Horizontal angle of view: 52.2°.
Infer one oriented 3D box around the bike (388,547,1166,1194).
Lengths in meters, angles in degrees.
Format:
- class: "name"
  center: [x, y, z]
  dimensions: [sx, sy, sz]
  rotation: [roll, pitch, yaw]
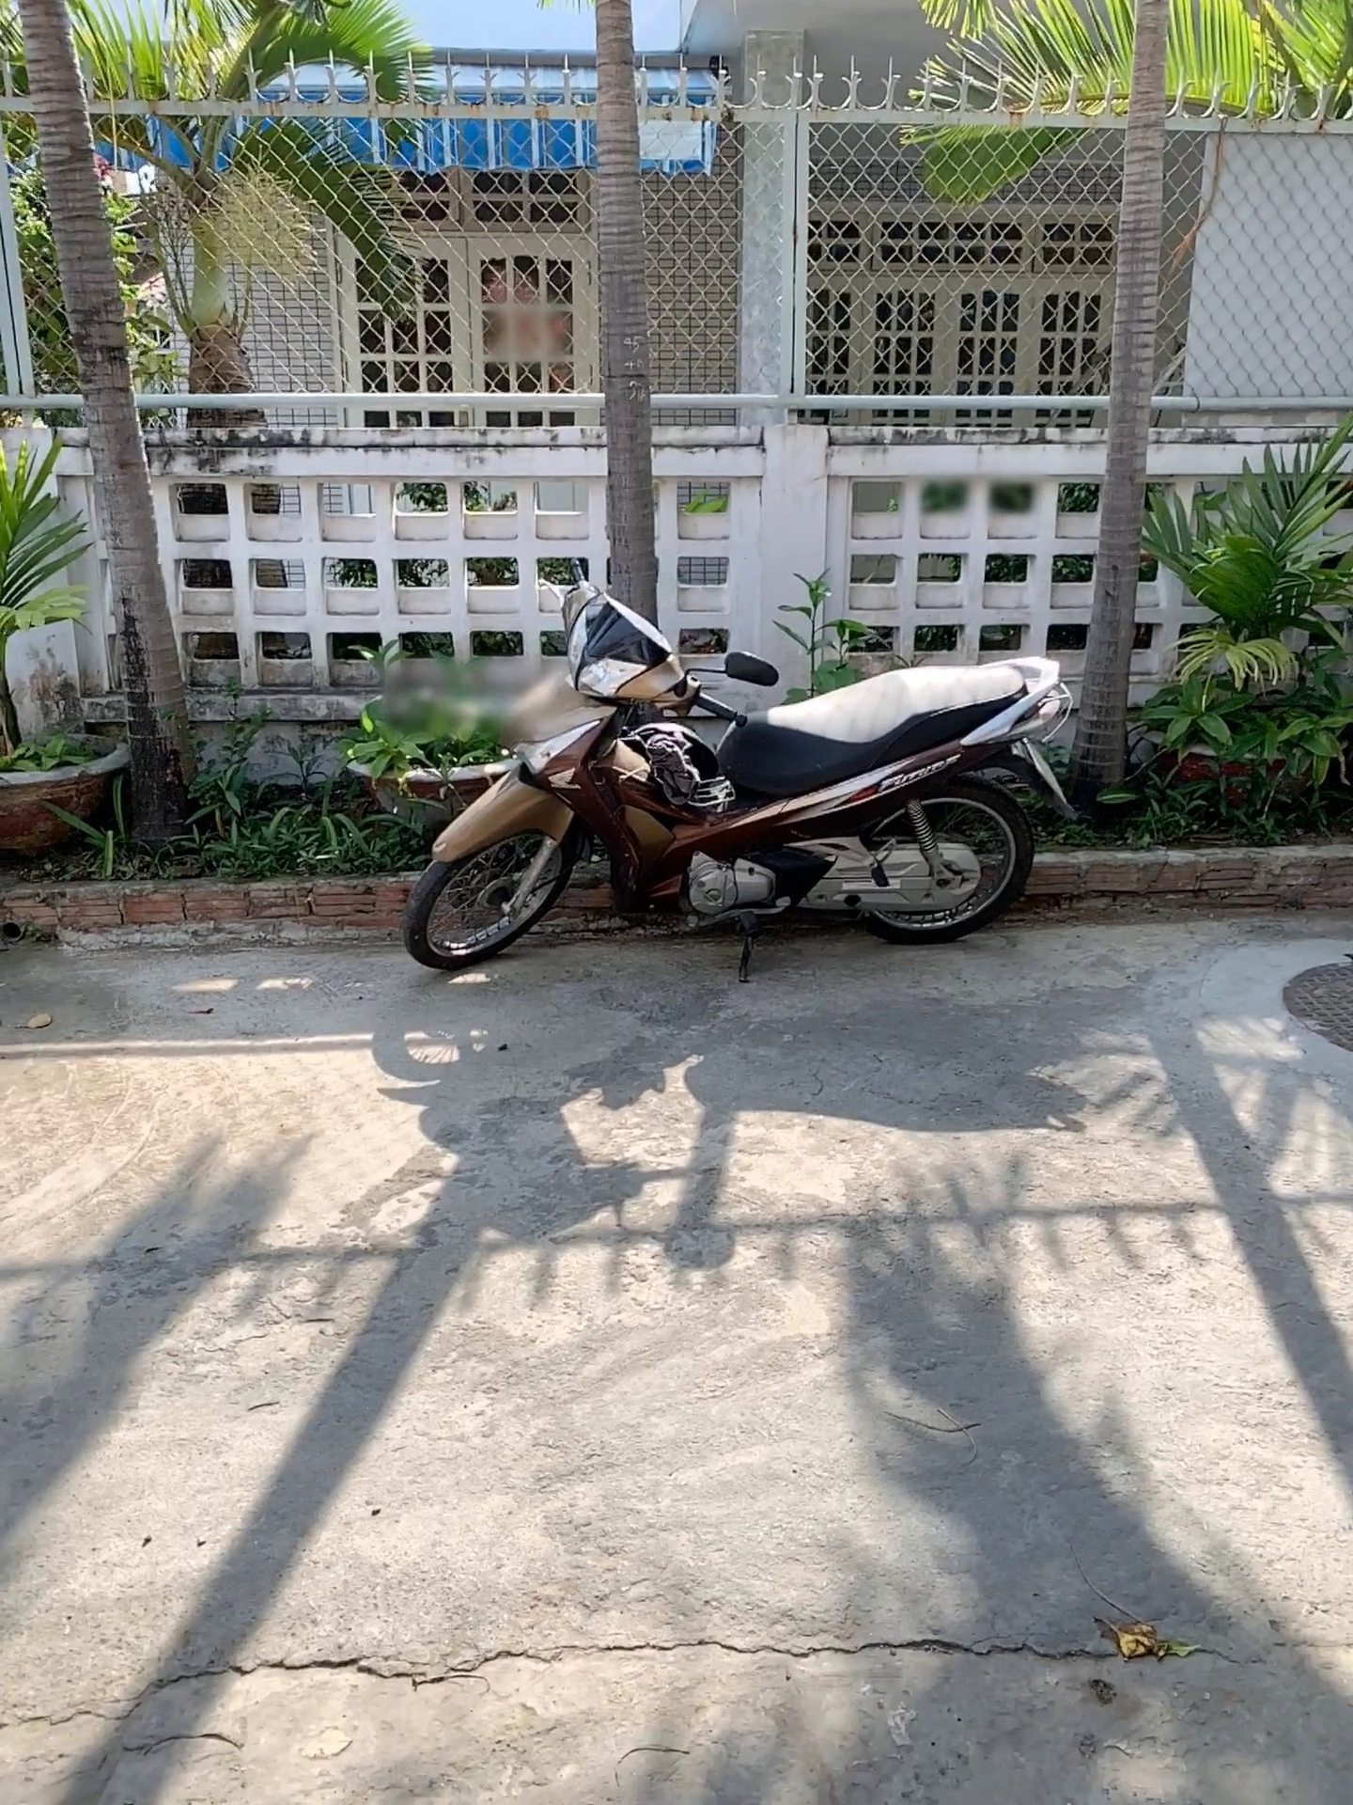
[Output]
- class: "bike"
  center: [0.266, -0.175, 3.750]
  dimensions: [1.975, 1.442, 0.614]
  rotation: [-6, 18, -17]
